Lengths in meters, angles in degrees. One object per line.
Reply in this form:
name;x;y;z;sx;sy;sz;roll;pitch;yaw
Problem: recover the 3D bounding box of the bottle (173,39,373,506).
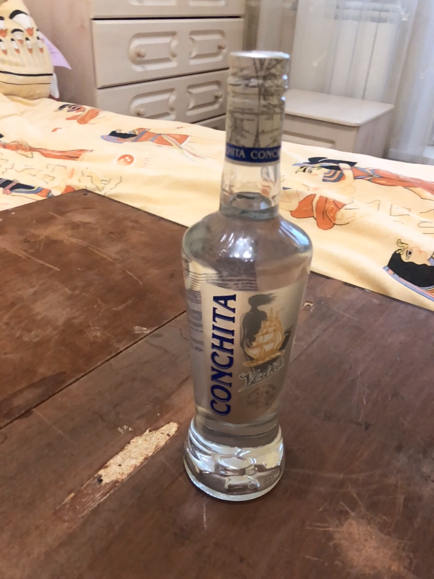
bottle;0.016;0.009;0.285;0.077;0.273;0.076;2;31;-1
